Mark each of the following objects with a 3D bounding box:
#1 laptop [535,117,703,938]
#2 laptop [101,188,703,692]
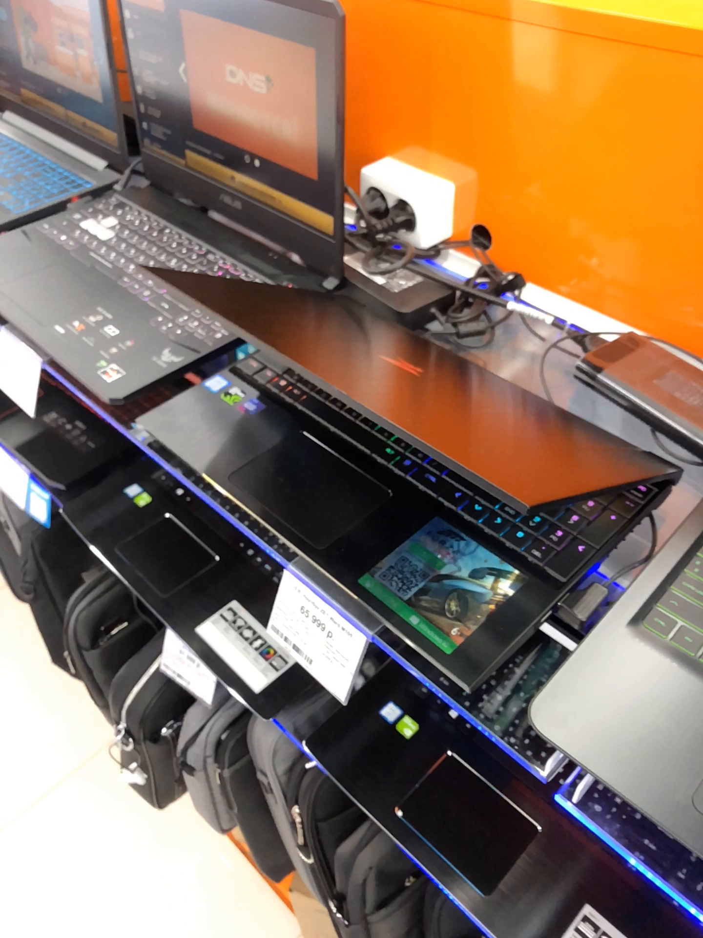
[{"bbox_3d":[0.320,0.055,0.346,0.335,0.252,0.307,33,54,32],"label":"laptop"},{"bbox_3d":[0.025,-0.057,0.573,0.233,0.118,0.360,-36,52,-28],"label":"laptop"}]
